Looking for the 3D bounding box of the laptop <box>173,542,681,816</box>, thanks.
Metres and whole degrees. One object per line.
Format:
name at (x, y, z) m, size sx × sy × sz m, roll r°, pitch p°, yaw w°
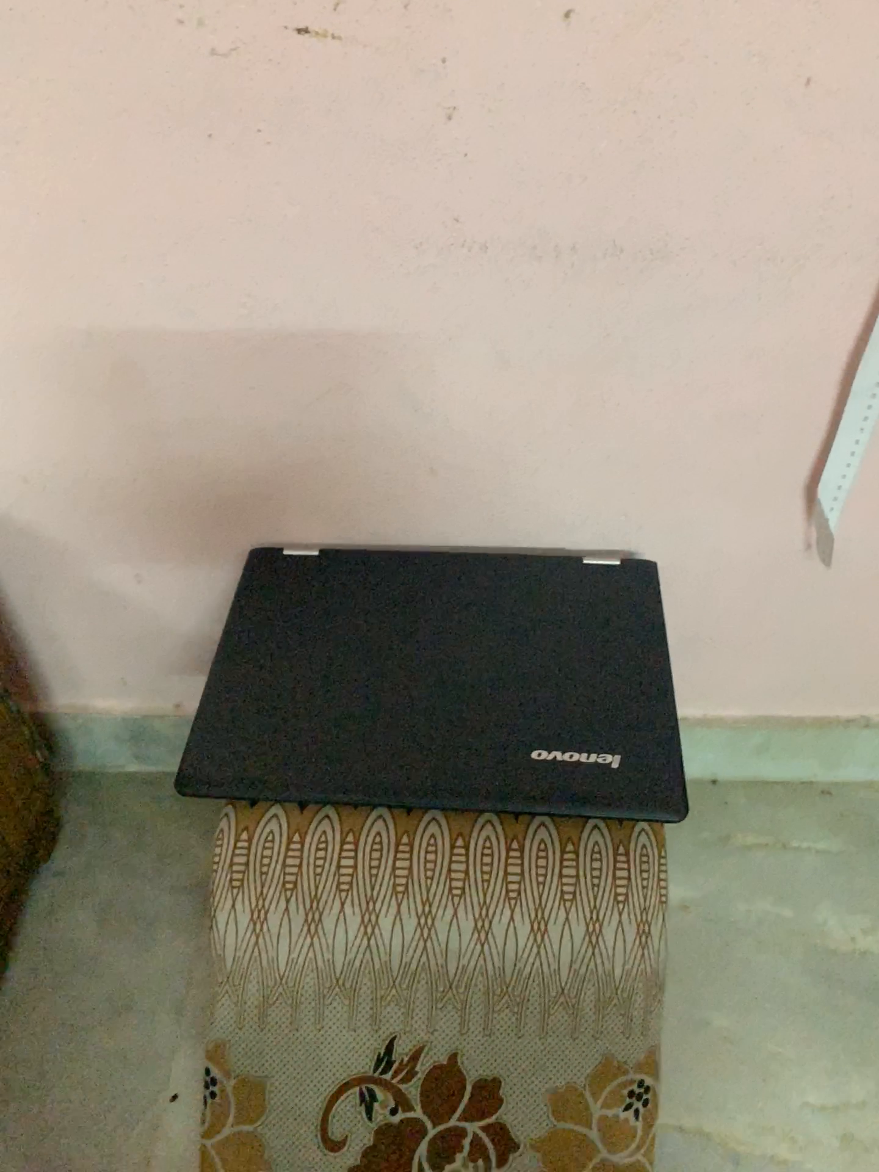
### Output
laptop at (-0.001, 0.053, 0.626) m, size 0.312 × 0.012 × 0.214 m, roll 2°, pitch 48°, yaw 5°
